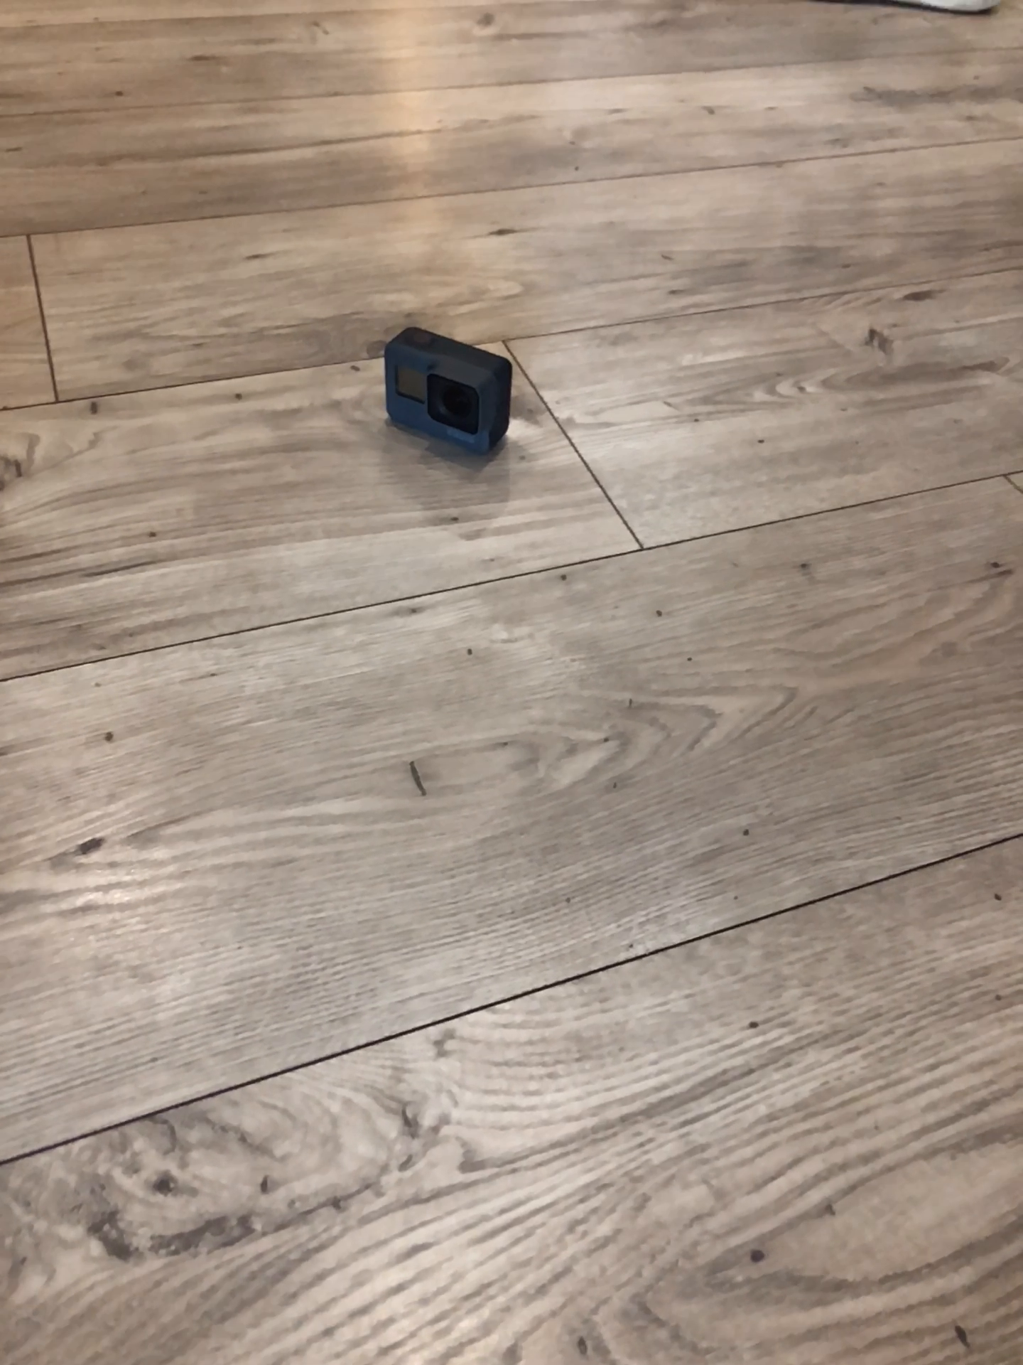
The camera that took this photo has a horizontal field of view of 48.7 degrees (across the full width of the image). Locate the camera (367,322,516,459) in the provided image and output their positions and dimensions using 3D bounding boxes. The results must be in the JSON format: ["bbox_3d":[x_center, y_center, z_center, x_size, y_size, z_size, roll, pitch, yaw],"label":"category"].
[{"bbox_3d":[-0.035,-0.146,0.563,0.065,0.040,0.032,23,49,17],"label":"camera"}]
